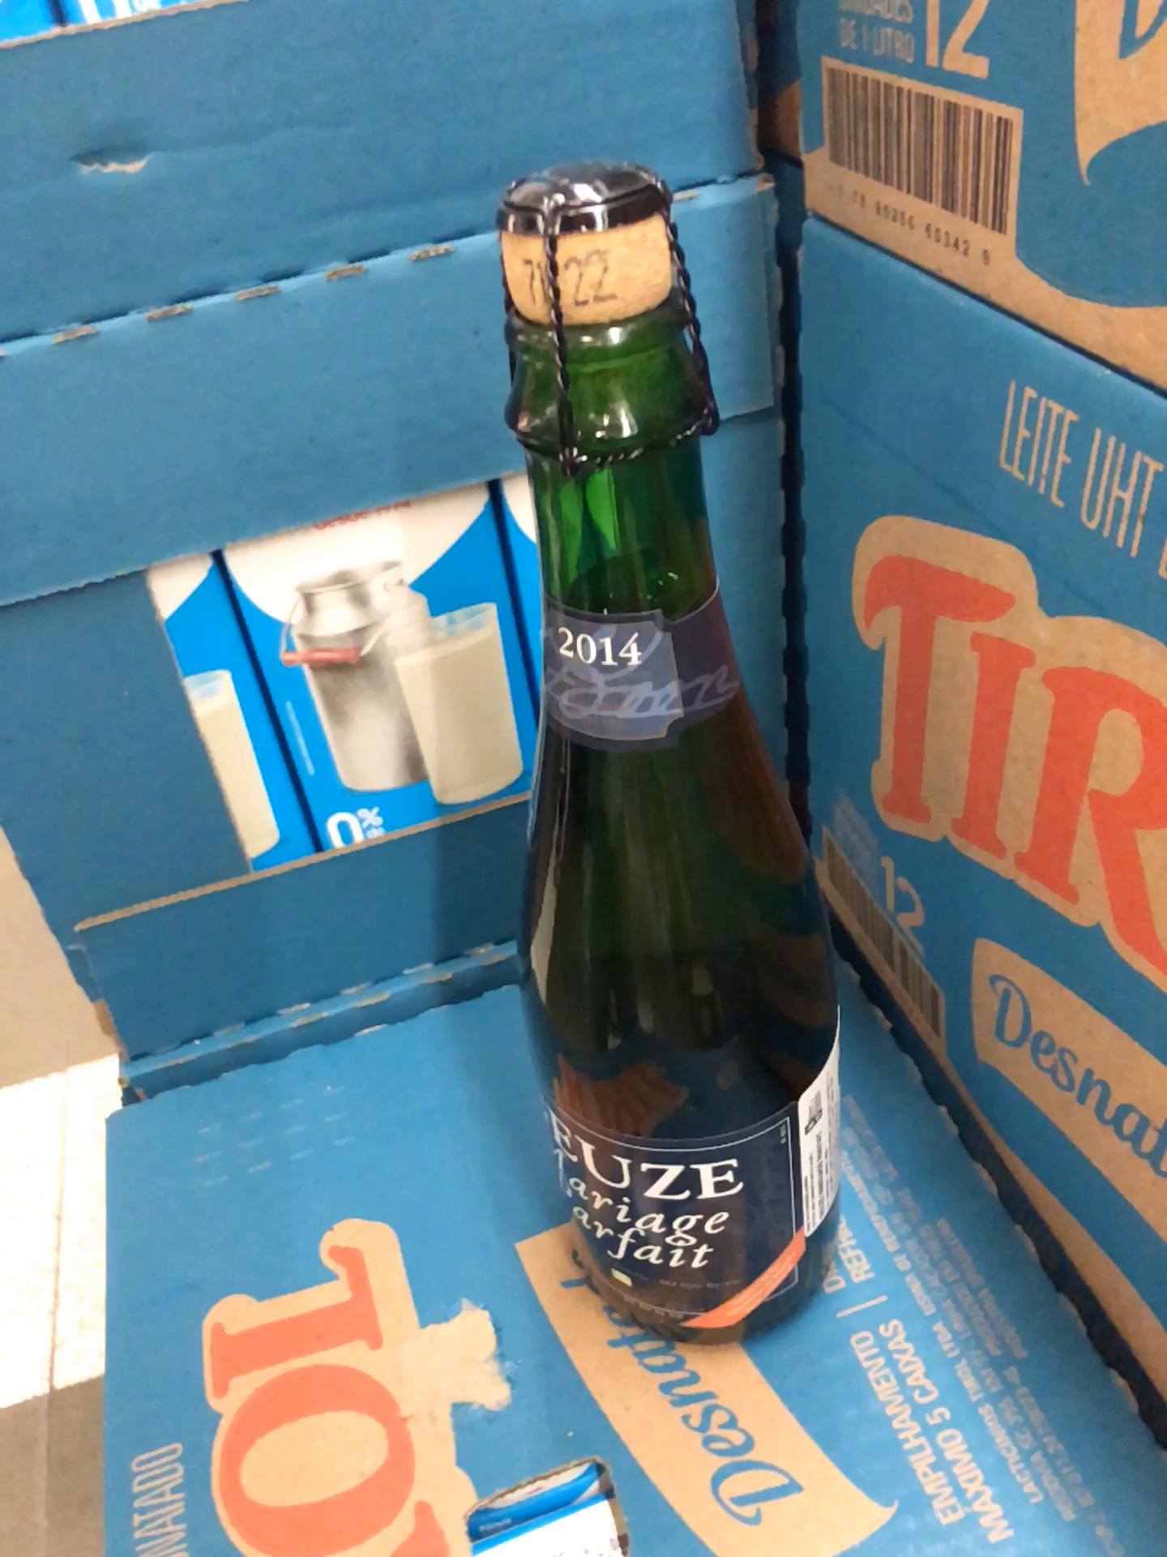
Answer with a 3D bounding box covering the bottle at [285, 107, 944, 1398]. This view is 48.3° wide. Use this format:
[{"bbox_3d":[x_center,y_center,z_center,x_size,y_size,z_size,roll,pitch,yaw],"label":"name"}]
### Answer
[{"bbox_3d":[0.019,0.016,0.258,0.070,0.258,0.060,17,44,29],"label":"bottle"}]
